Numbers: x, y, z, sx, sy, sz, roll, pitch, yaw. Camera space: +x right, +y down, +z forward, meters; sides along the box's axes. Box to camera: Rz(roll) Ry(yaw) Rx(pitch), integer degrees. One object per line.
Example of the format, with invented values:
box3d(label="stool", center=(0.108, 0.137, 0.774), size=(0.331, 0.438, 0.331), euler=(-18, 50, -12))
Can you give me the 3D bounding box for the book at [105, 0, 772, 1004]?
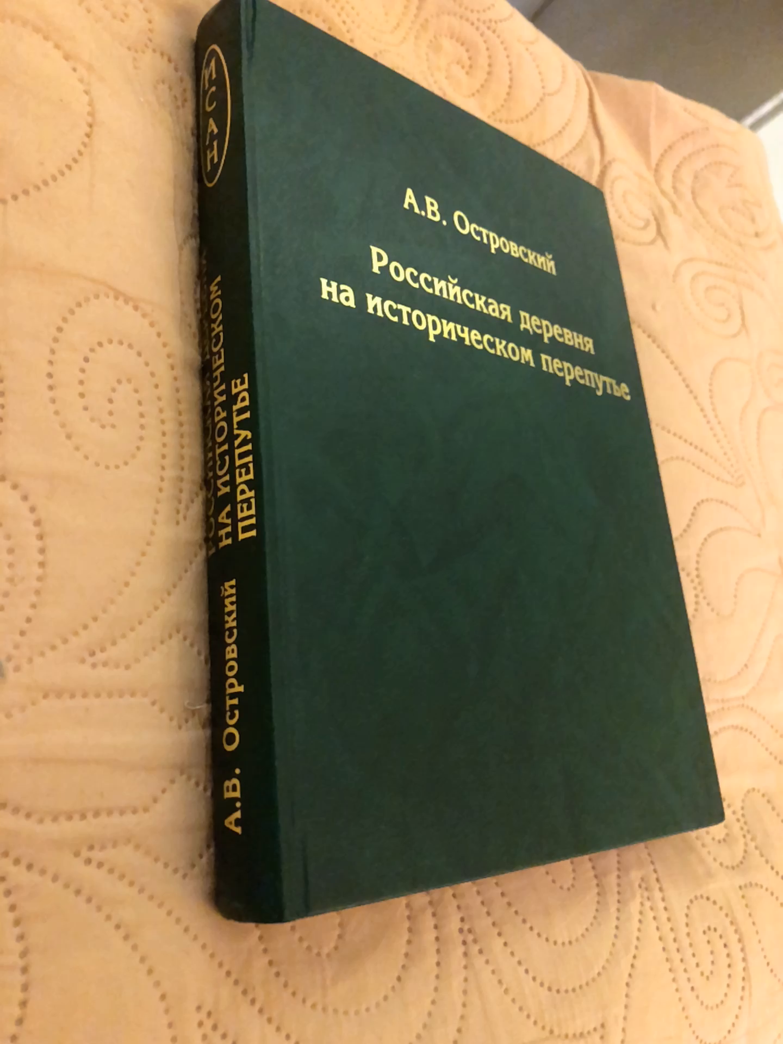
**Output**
box3d(label="book", center=(0.016, -0.023, 0.245), size=(0.181, 0.040, 0.240), euler=(8, 69, -39))
